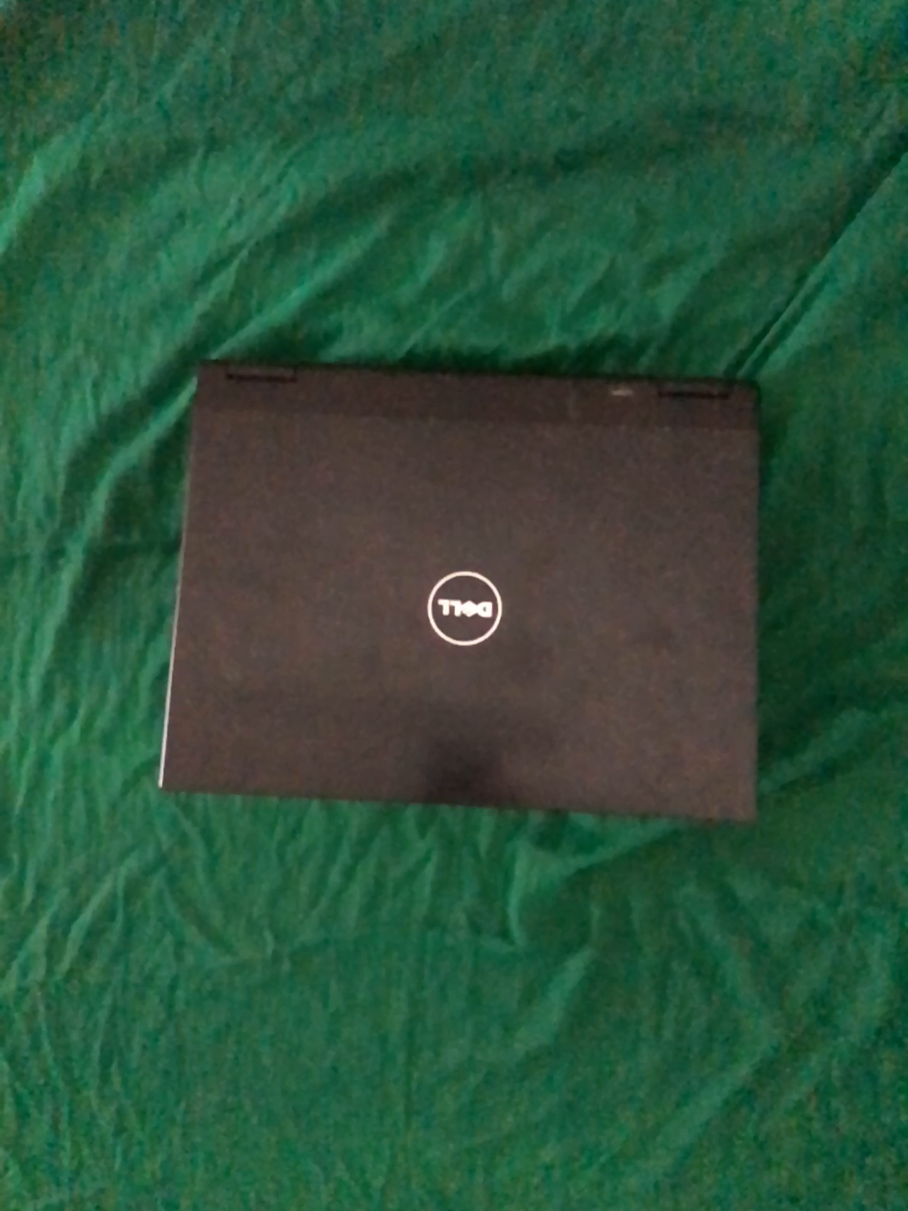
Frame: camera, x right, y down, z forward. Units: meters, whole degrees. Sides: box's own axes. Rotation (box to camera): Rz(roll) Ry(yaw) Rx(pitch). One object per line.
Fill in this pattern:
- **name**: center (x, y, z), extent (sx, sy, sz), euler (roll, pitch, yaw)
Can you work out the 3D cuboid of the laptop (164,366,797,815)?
- **laptop**: center (0.007, -0.008, 0.549), extent (0.306, 0.066, 0.226), euler (3, 105, 2)
